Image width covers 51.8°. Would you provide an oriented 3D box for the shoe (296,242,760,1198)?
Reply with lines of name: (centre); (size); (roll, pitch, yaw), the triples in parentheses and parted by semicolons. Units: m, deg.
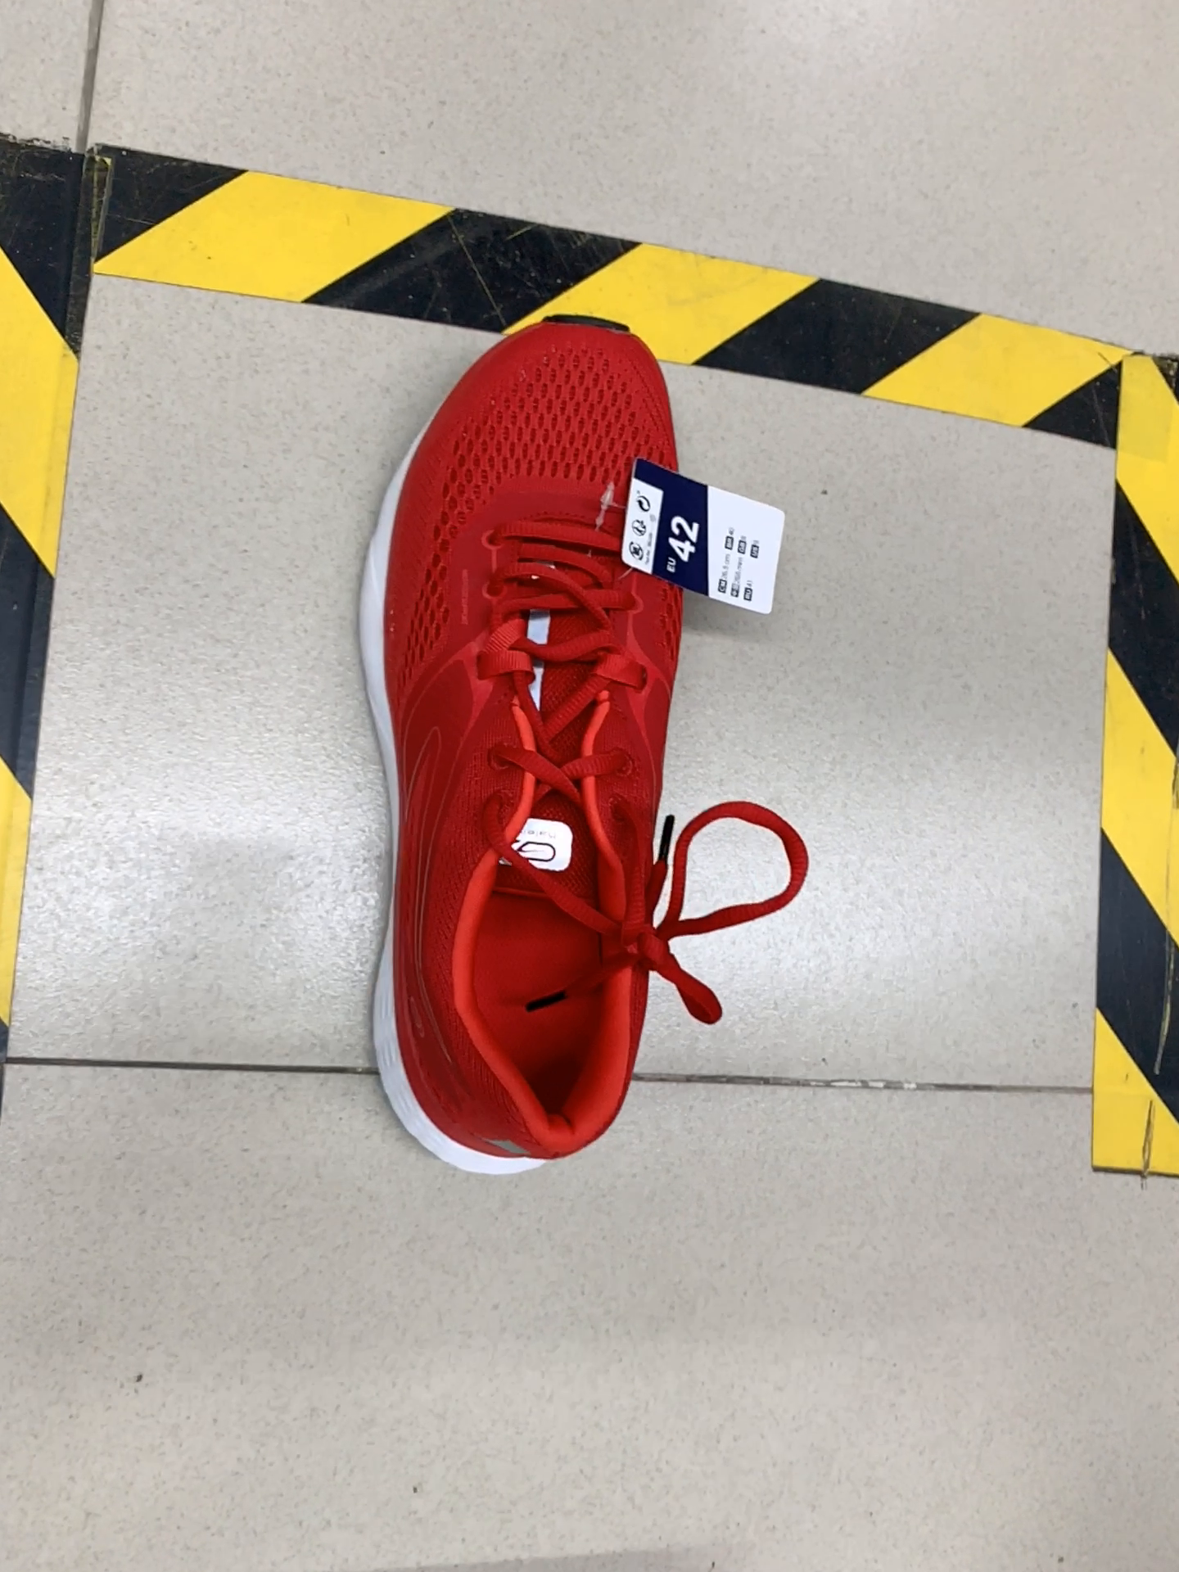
shoe: (-0.024, -0.016, 0.411); (0.120, 0.090, 0.280); (6, 84, -14)
